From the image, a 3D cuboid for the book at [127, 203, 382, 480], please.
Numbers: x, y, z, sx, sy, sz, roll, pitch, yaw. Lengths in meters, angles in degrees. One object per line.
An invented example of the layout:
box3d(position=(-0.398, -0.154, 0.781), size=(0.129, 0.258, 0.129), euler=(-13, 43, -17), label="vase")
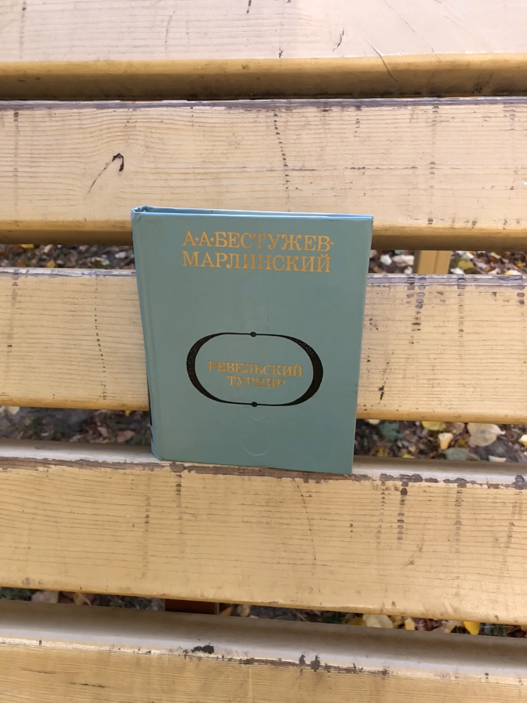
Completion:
box3d(position=(-0.003, -0.003, 0.361), size=(0.140, 0.169, 0.022), euler=(4, 27, 11), label="book")
